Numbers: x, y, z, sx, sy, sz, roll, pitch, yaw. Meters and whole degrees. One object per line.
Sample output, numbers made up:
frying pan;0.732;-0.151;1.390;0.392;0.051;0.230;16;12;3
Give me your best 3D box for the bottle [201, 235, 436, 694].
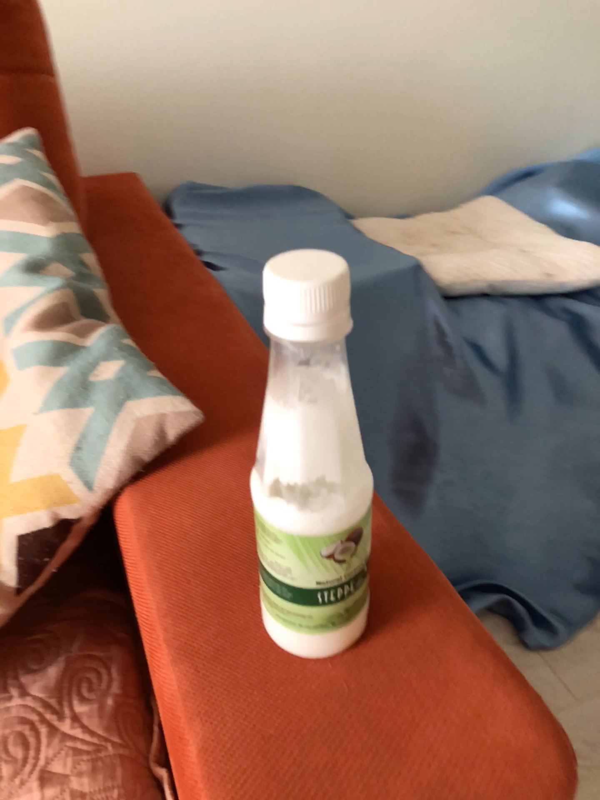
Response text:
bottle;0.005;0.031;0.278;0.060;0.179;0.060;0;31;0
